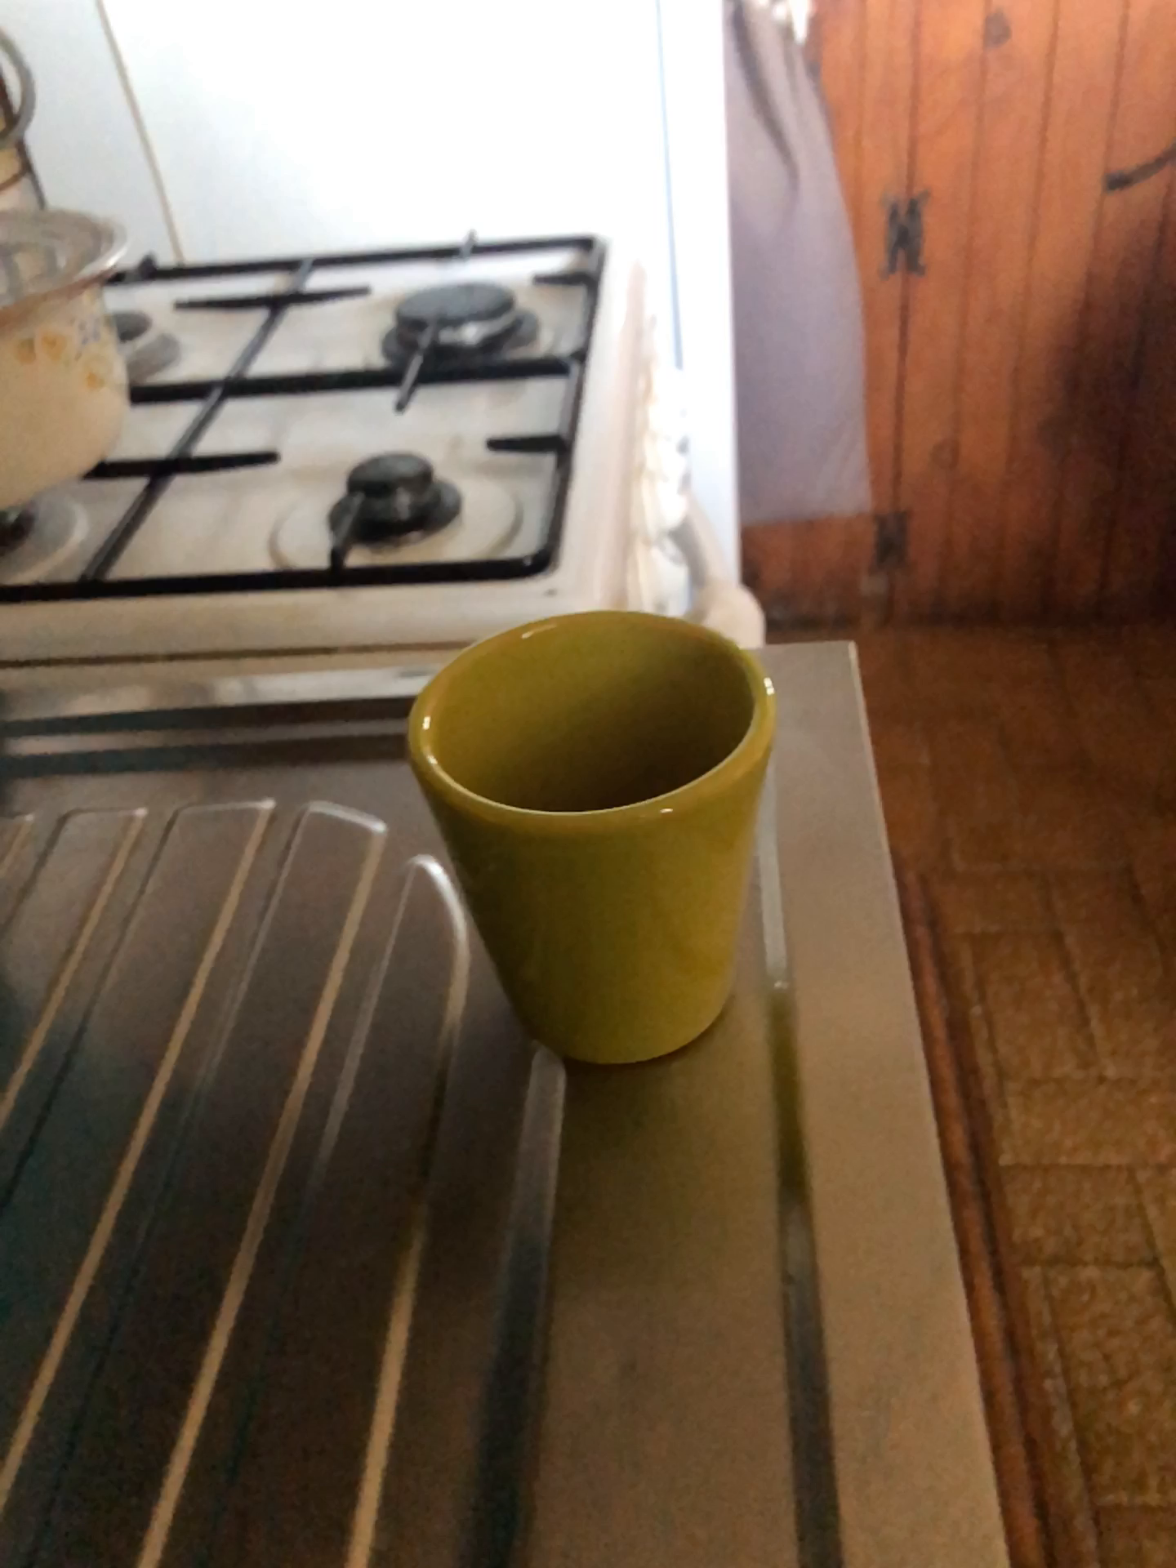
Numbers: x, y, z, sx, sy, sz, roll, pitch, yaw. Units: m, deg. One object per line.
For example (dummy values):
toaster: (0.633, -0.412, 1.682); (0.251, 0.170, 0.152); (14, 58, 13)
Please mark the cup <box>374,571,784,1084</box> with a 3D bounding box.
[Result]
cup: (0.006, 0.010, 0.313); (0.080, 0.089, 0.081); (-4, 38, 3)
